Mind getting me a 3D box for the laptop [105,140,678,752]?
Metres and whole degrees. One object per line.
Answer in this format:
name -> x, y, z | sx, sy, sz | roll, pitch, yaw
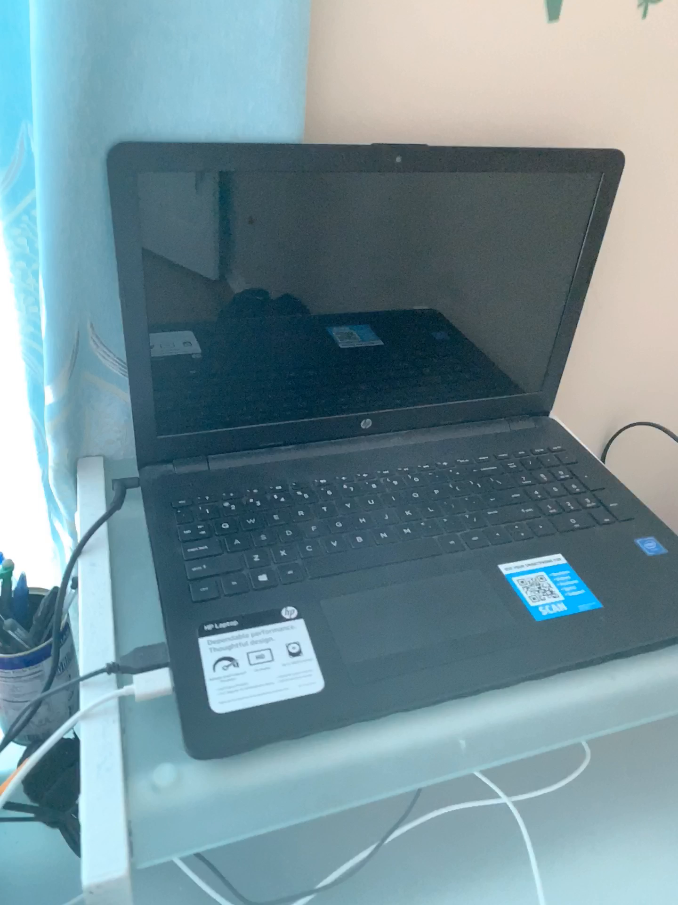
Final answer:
laptop -> 0.067, -0.036, 0.426 | 0.358, 0.225, 0.246 | -7, 37, -19
